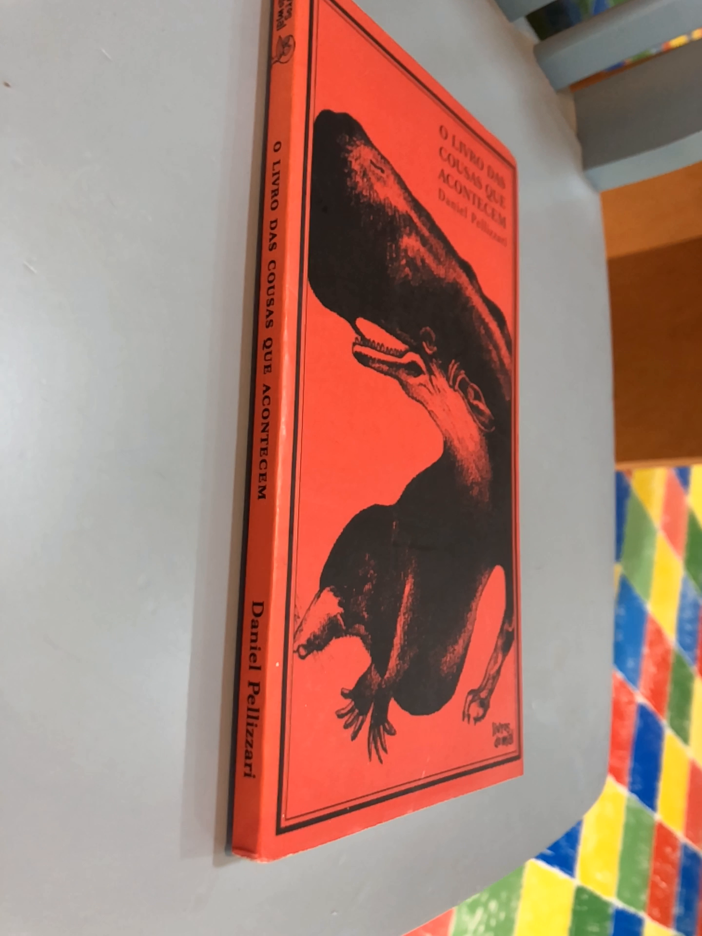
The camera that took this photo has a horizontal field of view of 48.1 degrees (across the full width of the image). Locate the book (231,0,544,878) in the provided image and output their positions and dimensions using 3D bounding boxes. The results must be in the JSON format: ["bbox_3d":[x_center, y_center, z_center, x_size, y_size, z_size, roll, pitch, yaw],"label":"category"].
[{"bbox_3d":[0.019,-0.013,0.212,0.111,0.016,0.200,11,77,-50],"label":"book"}]
